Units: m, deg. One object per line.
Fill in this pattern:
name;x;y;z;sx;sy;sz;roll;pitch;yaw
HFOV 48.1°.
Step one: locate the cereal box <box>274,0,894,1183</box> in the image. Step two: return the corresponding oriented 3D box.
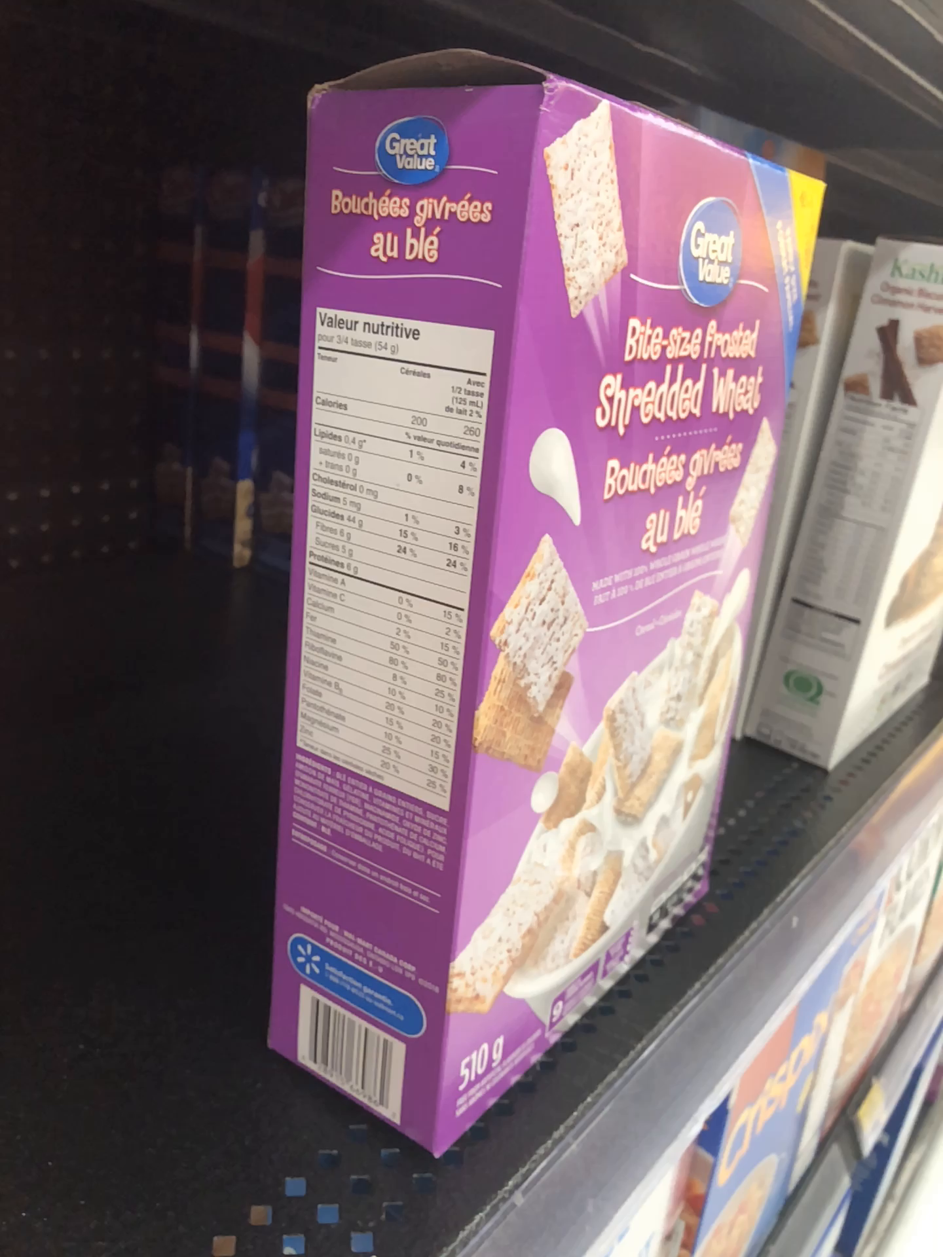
cereal box;0.042;-0.015;0.340;0.070;0.279;0.210;17;21;33
